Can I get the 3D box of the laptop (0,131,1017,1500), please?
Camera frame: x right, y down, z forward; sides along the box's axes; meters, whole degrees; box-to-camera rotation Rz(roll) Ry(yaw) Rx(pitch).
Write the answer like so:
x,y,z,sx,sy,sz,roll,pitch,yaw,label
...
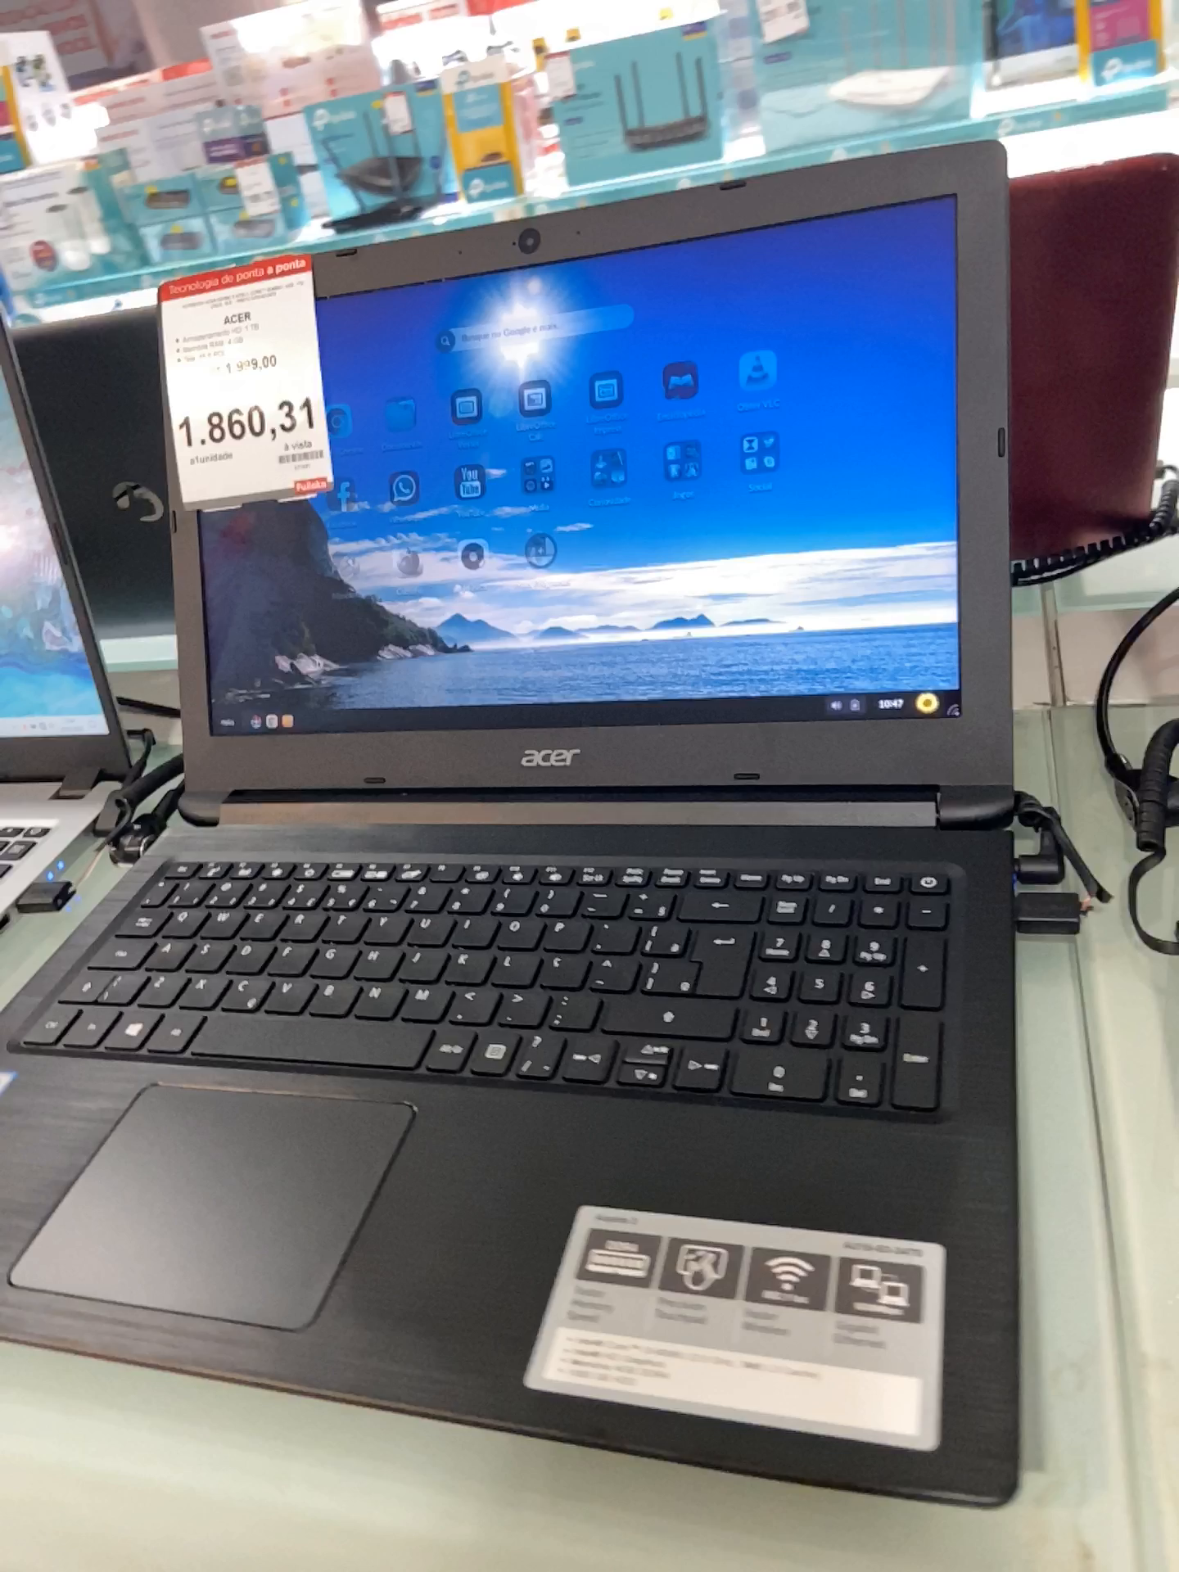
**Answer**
x,y,z,sx,sy,sz,roll,pitch,yaw,label
-0.056,-0.040,0.418,0.379,0.215,0.381,-1,34,20,laptop
